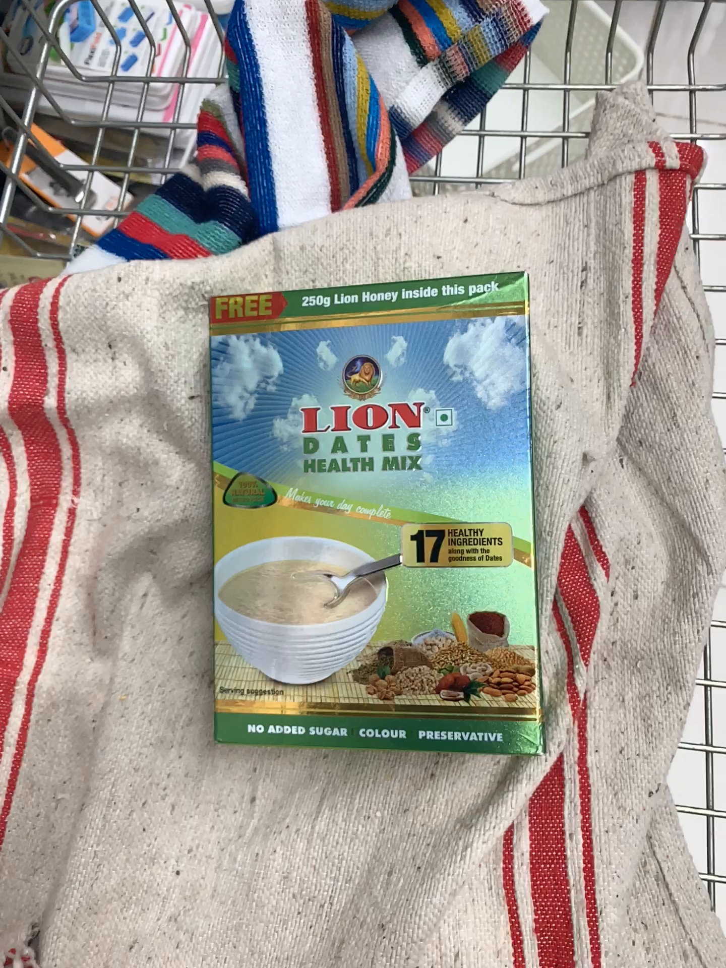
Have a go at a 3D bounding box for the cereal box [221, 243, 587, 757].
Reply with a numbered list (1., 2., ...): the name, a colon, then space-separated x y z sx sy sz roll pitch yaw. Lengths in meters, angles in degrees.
1. cereal box: 0.020 0.008 0.336 0.140 0.090 0.190 -1 87 12
